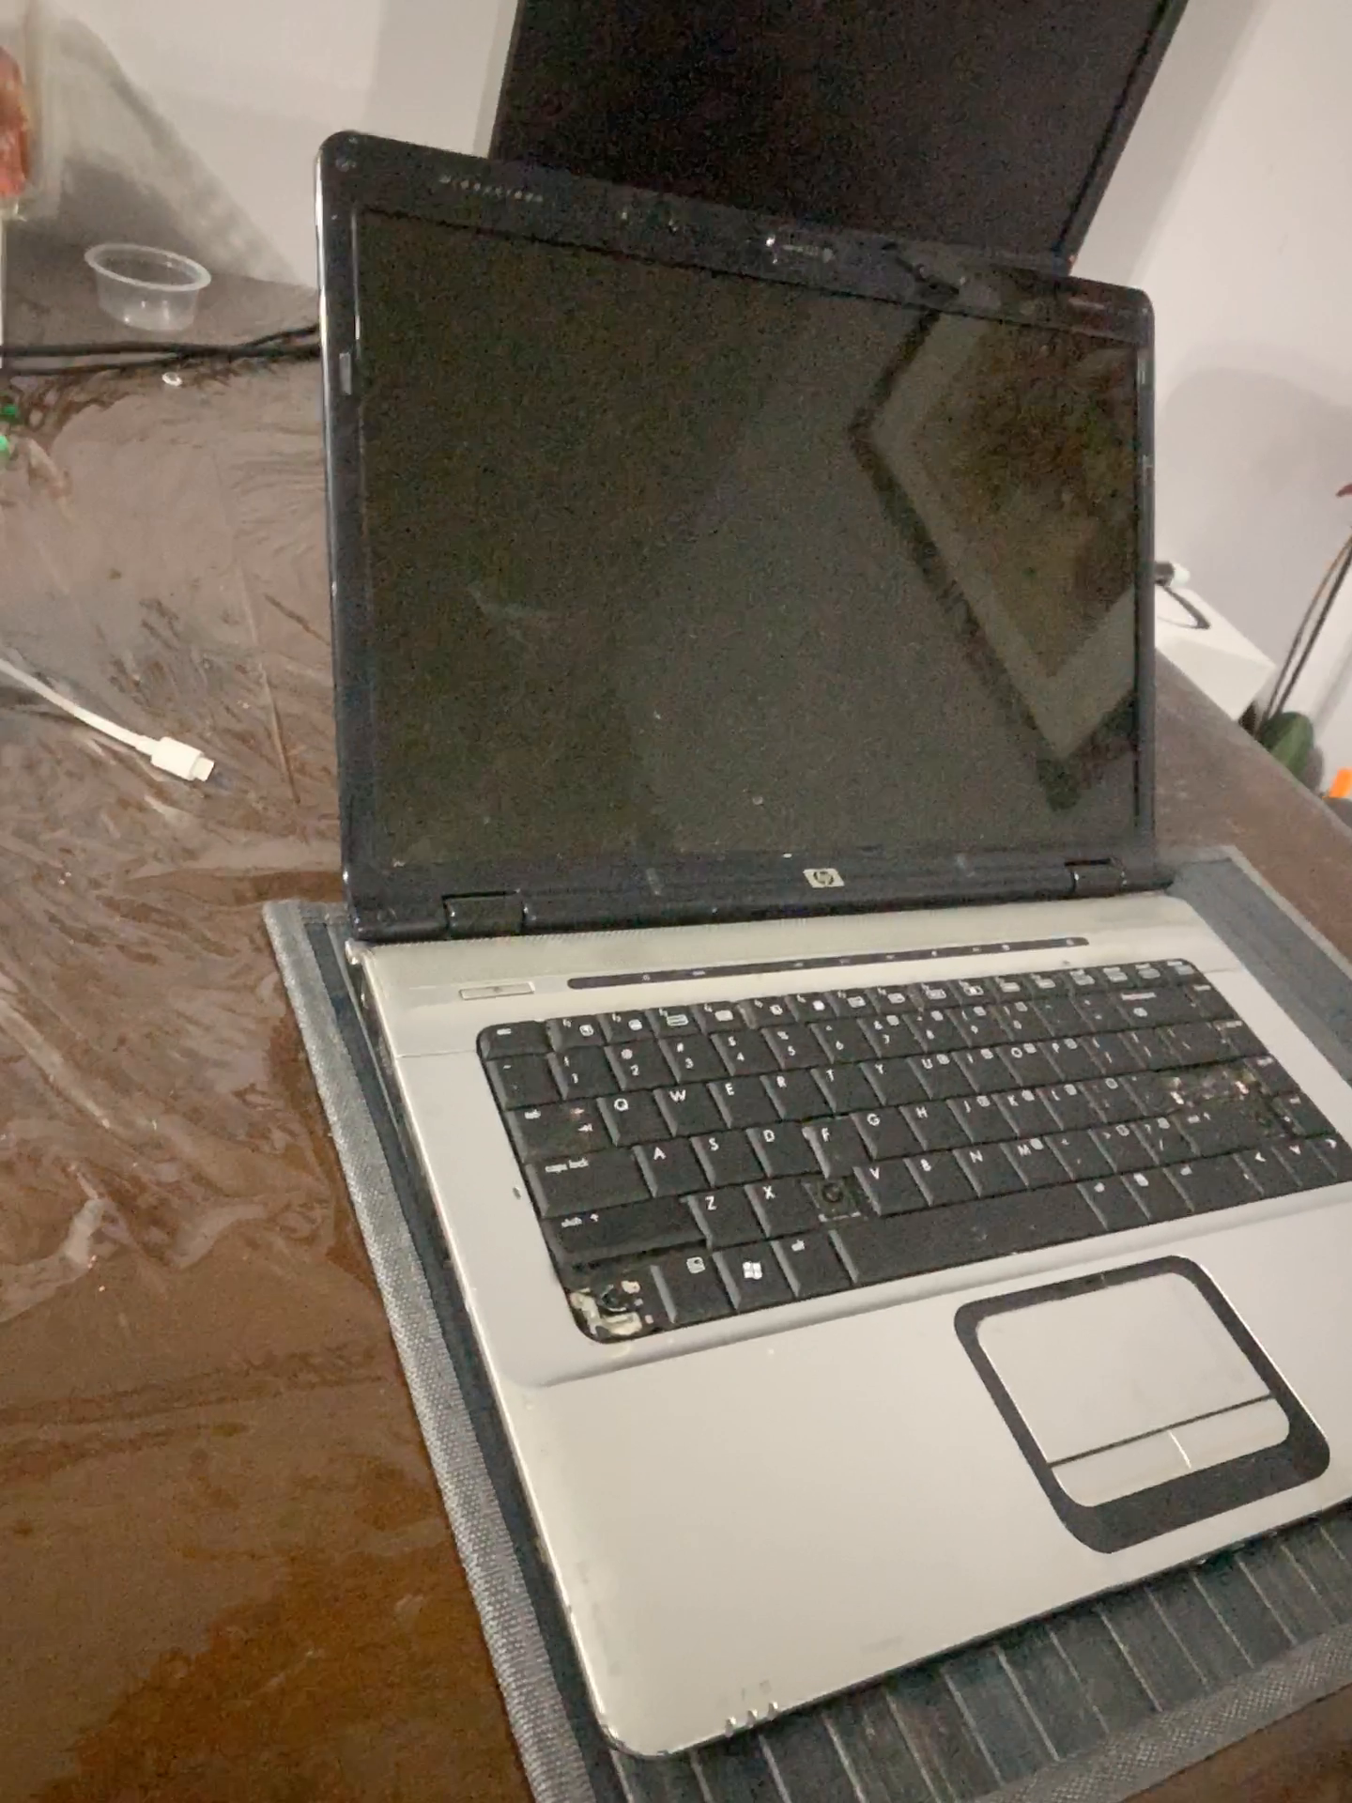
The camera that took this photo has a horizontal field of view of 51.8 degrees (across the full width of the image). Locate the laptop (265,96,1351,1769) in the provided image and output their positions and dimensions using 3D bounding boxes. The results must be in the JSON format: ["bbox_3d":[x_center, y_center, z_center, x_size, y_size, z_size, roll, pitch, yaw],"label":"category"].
[{"bbox_3d":[0.096,-0.047,0.430,0.350,0.186,0.403,-3,44,-28],"label":"laptop"}]
